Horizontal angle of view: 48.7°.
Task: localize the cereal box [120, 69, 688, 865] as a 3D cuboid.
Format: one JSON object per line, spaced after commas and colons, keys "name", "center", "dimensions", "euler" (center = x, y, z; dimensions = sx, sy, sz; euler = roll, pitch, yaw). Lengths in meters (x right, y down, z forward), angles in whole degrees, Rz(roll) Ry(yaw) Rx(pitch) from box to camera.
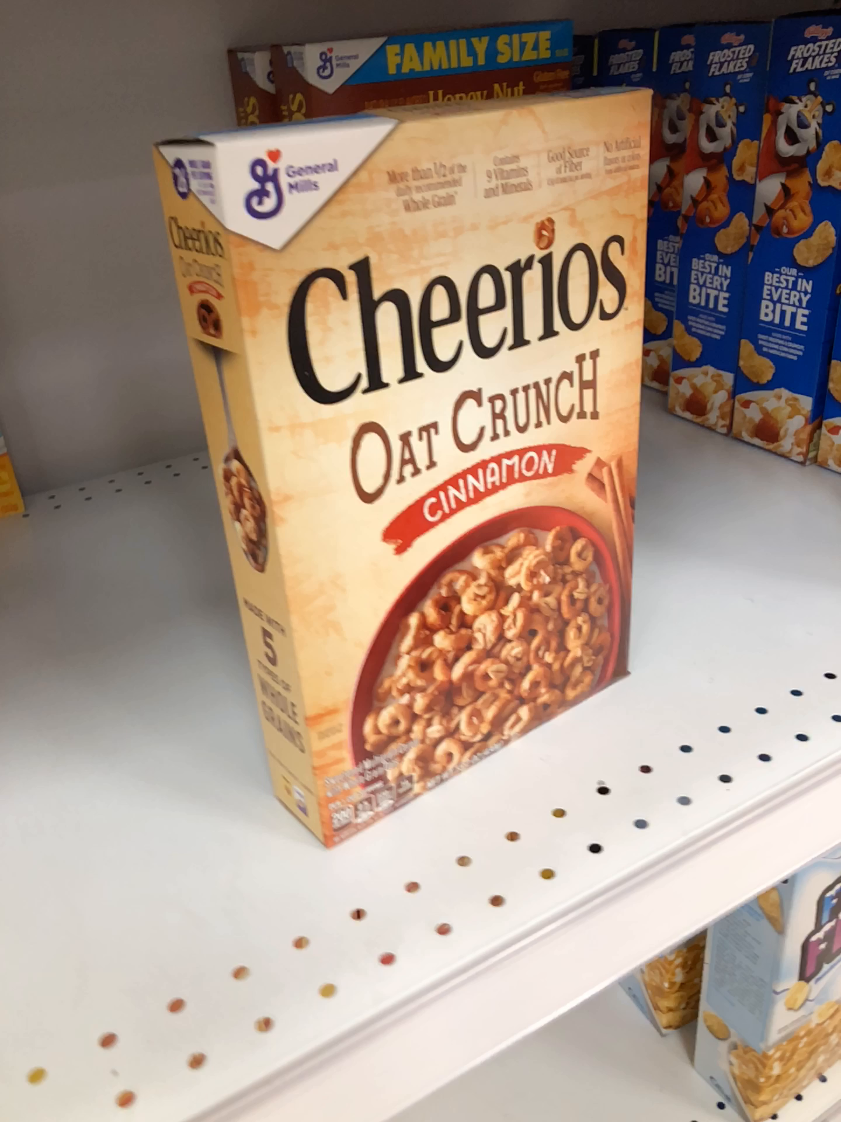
{"name": "cereal box", "center": [0.012, -0.037, 0.384], "dimensions": [0.200, 0.279, 0.050], "euler": [-23, 36, -29]}
